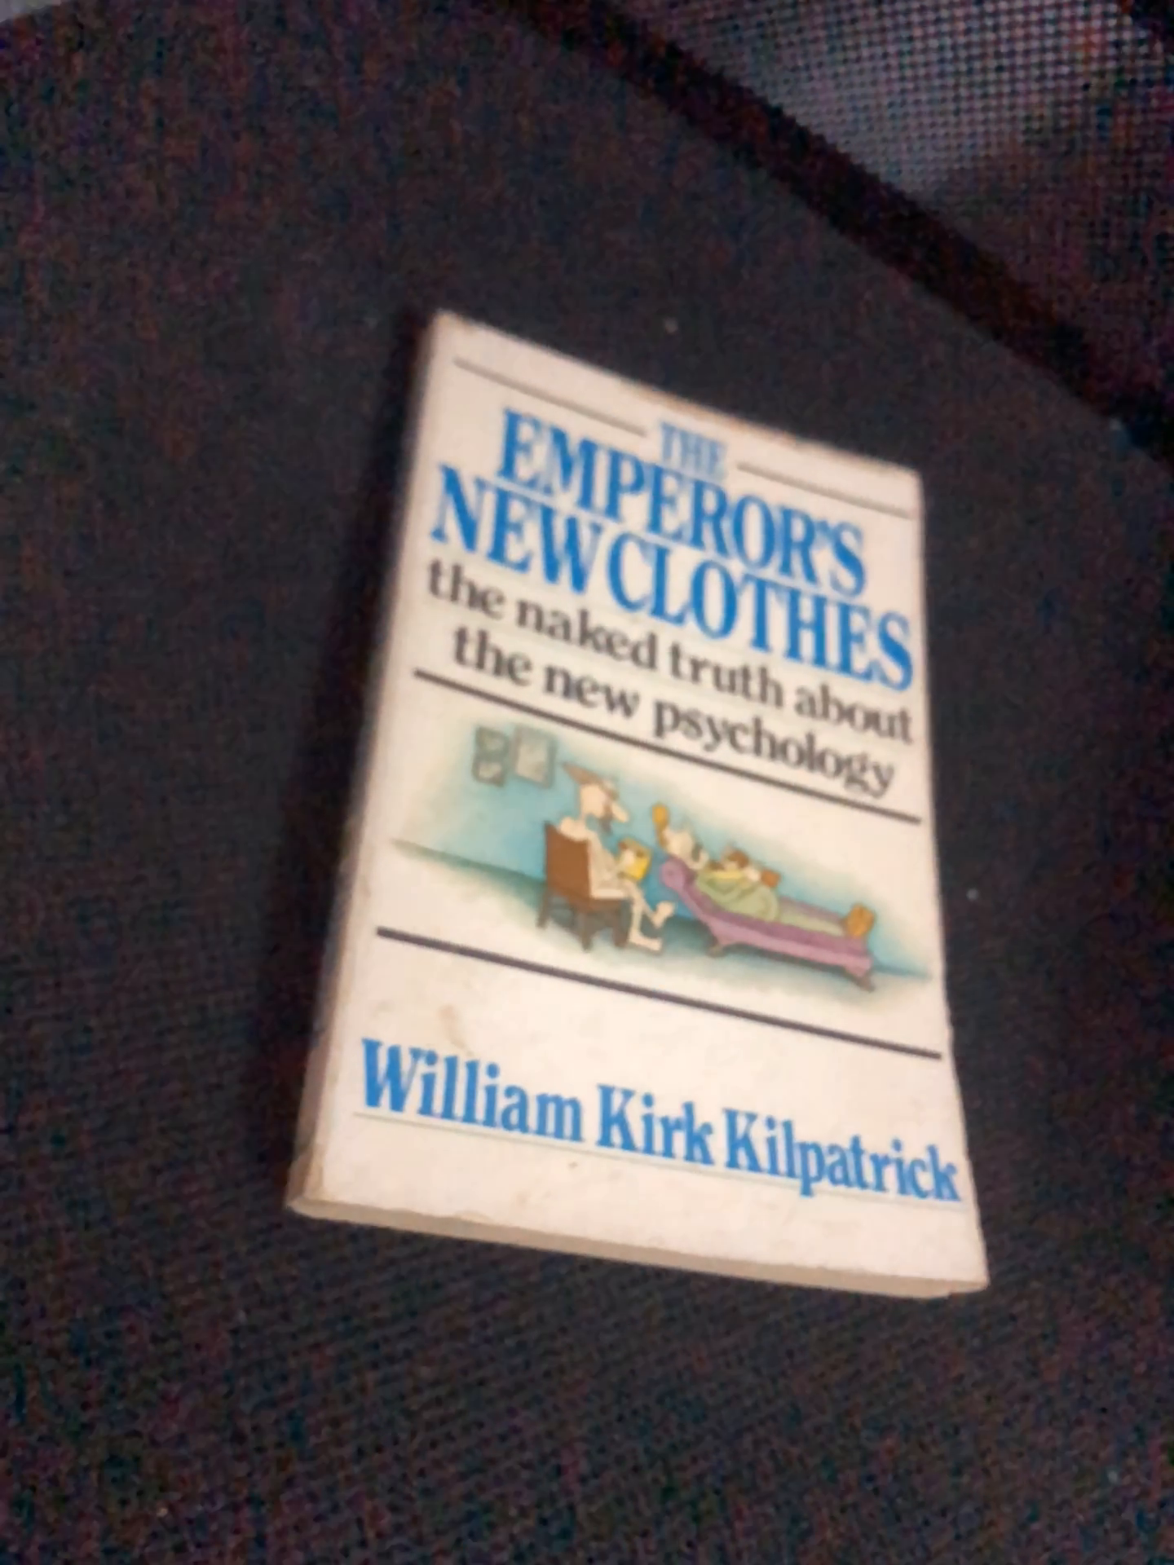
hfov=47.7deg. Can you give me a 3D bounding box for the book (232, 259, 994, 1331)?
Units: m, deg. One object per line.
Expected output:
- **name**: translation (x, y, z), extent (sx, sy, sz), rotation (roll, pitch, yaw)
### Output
- **book**: translation (0.016, -0.008, 0.301), extent (0.145, 0.020, 0.230), rotation (16, 57, -20)
